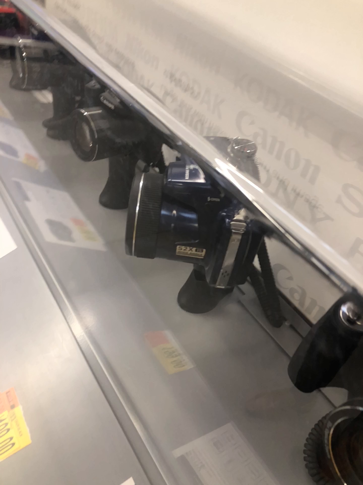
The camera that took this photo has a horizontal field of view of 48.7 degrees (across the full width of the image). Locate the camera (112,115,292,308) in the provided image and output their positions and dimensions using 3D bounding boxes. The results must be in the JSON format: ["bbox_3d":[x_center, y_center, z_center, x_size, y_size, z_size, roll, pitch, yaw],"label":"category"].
[{"bbox_3d":[0.011,-0.029,0.335,0.110,0.089,0.121,10,38,-8],"label":"camera"}]
